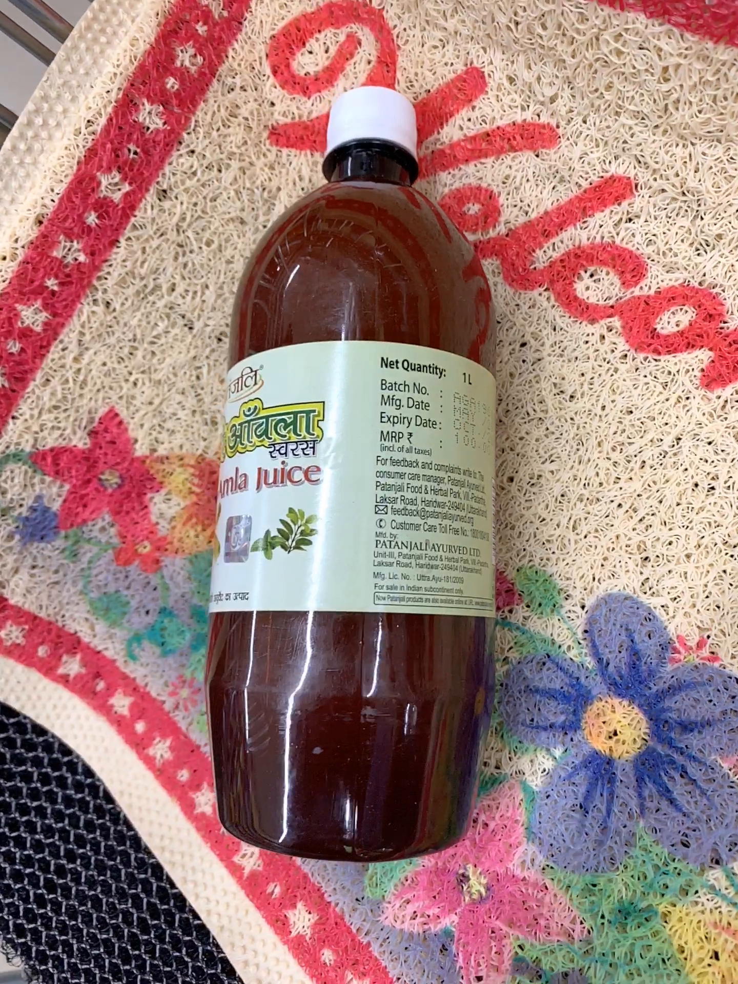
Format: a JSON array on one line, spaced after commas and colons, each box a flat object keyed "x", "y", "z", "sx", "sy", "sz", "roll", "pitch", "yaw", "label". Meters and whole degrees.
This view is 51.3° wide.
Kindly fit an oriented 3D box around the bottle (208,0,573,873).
[{"x": 0.005, "y": -0.031, "z": 0.236, "sx": 0.080, "sy": 0.080, "sz": 0.250, "roll": 6, "pitch": 79, "yaw": -16, "label": "bottle"}]
